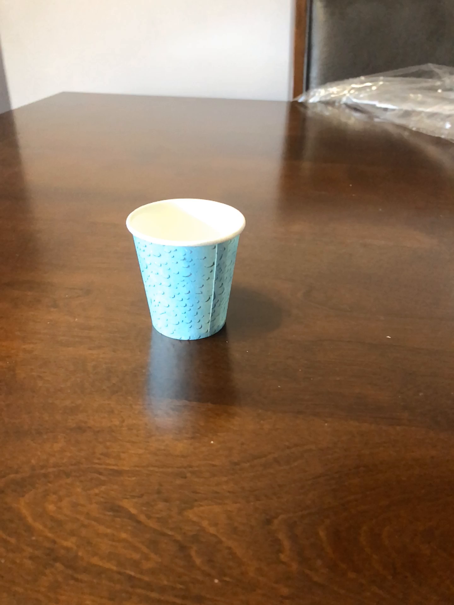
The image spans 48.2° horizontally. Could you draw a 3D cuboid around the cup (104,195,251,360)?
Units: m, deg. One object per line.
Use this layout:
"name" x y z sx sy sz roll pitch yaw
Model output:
"cup" -0.021 -0.015 0.260 0.060 0.060 0.060 1 30 0
